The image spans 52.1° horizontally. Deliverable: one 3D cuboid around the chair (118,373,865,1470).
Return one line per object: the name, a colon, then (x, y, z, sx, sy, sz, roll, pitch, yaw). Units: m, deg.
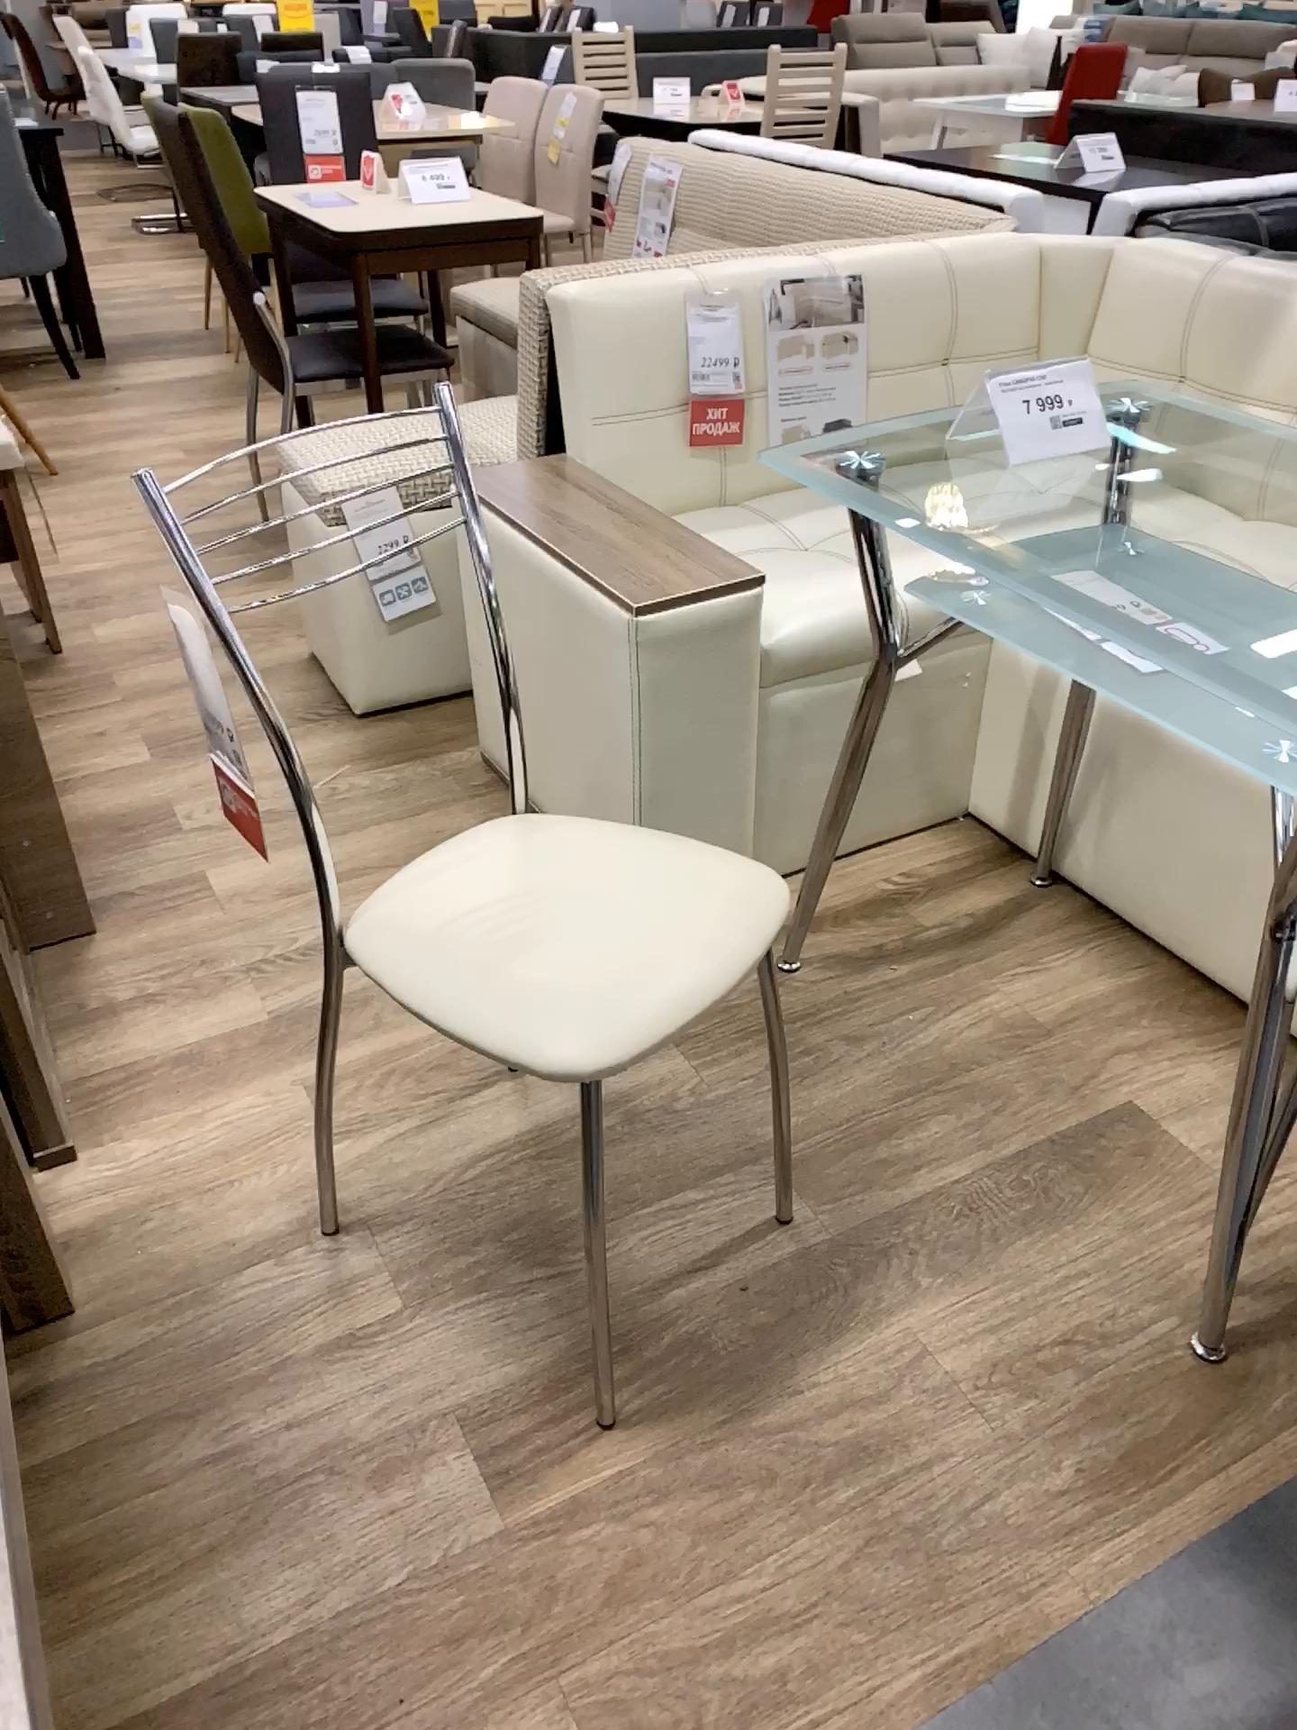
chair: (-0.128, 0.062, 1.393, 0.481, 0.967, 0.415, 23, 40, 31)
